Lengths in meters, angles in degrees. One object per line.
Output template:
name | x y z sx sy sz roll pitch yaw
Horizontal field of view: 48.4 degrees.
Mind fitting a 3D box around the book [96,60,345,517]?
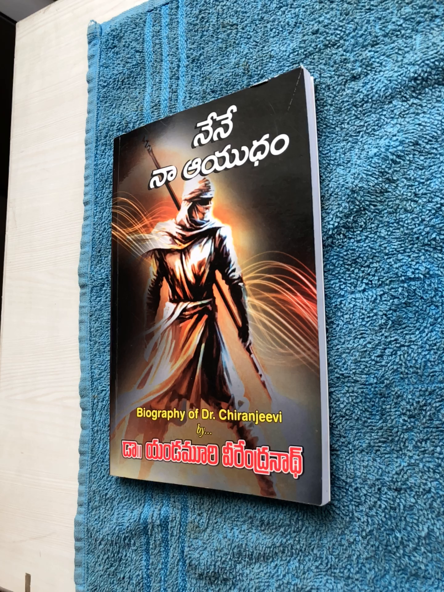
book | -0.008 -0.003 0.284 0.140 0.030 0.220 -6 81 31
